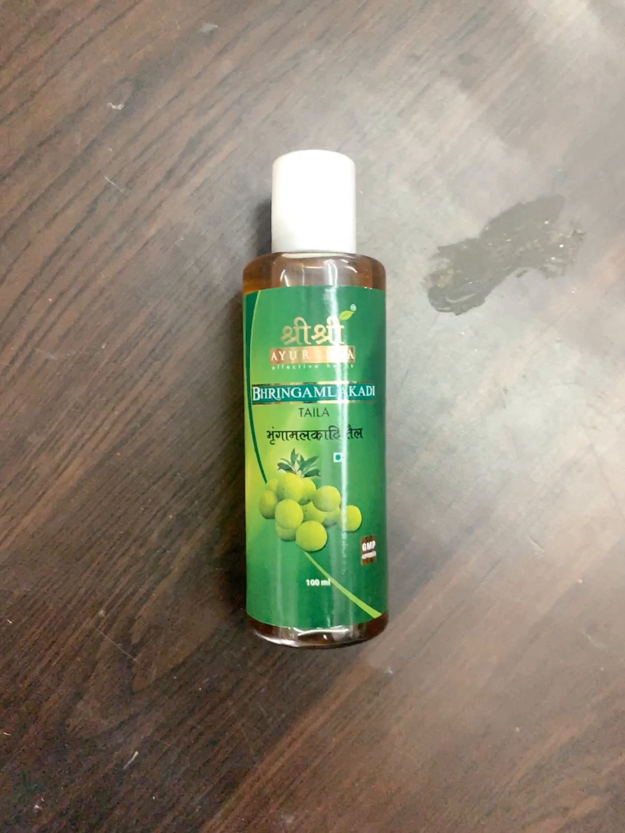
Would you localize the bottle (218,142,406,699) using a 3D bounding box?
[{"bbox_3d":[-0.001,0.001,0.161,0.040,0.040,0.120,0,91,-2],"label":"bottle"}]
